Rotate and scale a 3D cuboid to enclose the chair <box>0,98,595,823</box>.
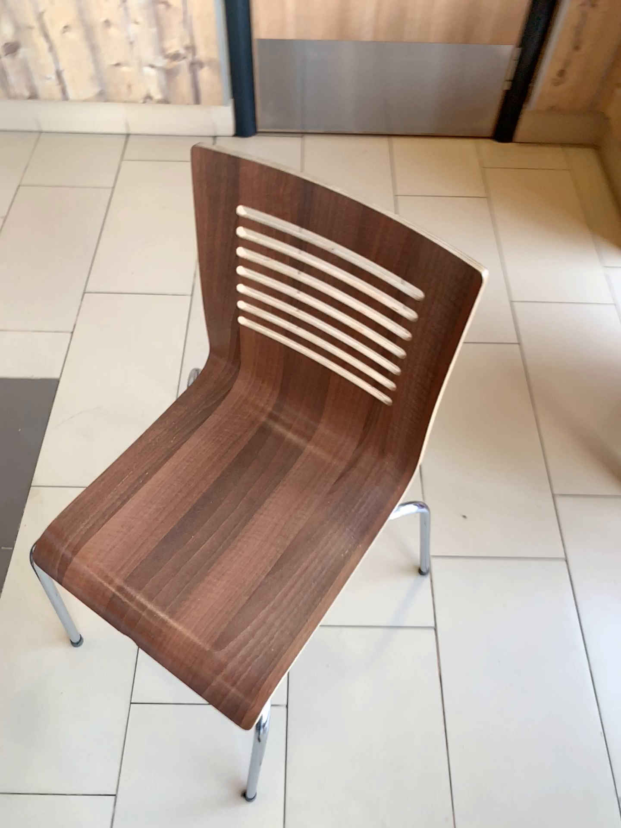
[{"bbox_3d":[-0.103,0.135,0.951,0.545,0.795,0.593,32,62,18],"label":"chair"}]
